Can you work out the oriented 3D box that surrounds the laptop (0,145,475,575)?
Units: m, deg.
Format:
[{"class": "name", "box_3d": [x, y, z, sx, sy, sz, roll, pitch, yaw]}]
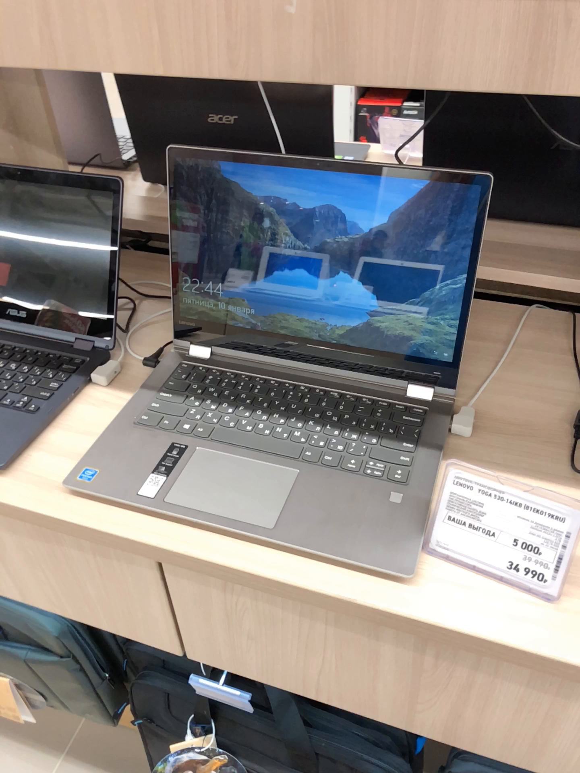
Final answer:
[{"class": "laptop", "box_3d": [-0.019, -0.053, 0.576, 0.311, 0.205, 0.288, 10, 40, 15]}]
